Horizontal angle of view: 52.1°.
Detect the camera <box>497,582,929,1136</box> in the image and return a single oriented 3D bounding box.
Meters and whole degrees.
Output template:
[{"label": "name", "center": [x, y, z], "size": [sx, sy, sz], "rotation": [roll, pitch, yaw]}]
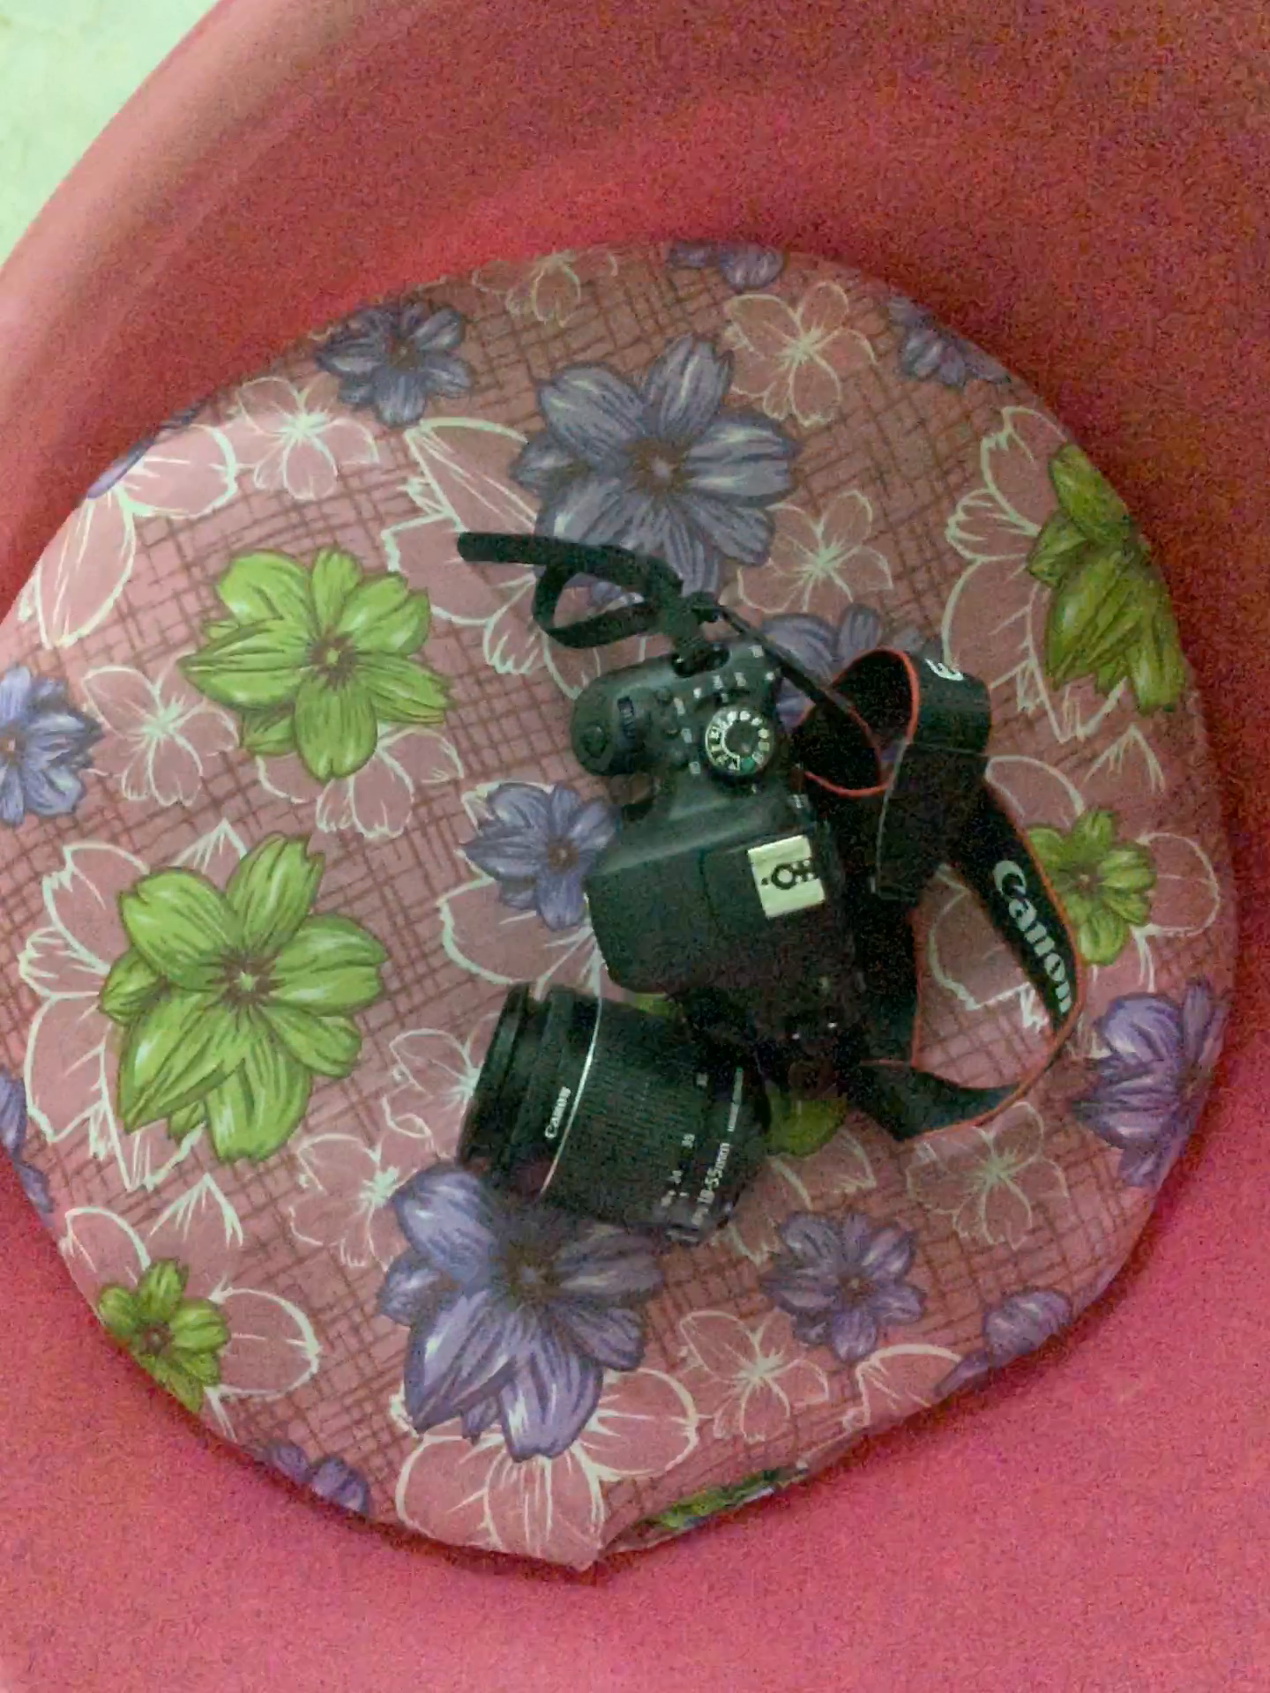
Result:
[{"label": "camera", "center": [0.023, 0.006, 0.419], "size": [0.086, 0.079, 0.143], "rotation": [-18, 85, 0]}]
